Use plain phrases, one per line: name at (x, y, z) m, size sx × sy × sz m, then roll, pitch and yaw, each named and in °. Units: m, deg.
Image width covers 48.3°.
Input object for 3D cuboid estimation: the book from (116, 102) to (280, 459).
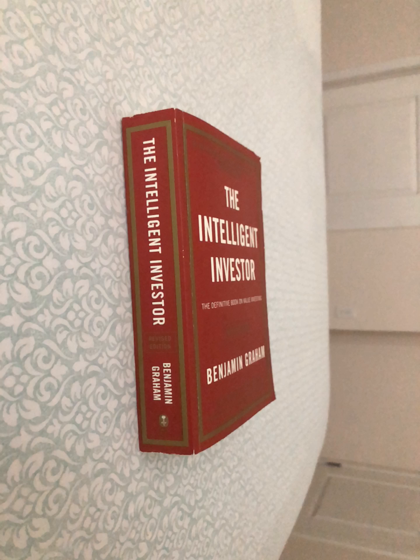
book at (0.000, 0.000, 0.332) m, size 0.131 × 0.050 × 0.200 m, roll -3°, pitch 90°, yaw -63°
